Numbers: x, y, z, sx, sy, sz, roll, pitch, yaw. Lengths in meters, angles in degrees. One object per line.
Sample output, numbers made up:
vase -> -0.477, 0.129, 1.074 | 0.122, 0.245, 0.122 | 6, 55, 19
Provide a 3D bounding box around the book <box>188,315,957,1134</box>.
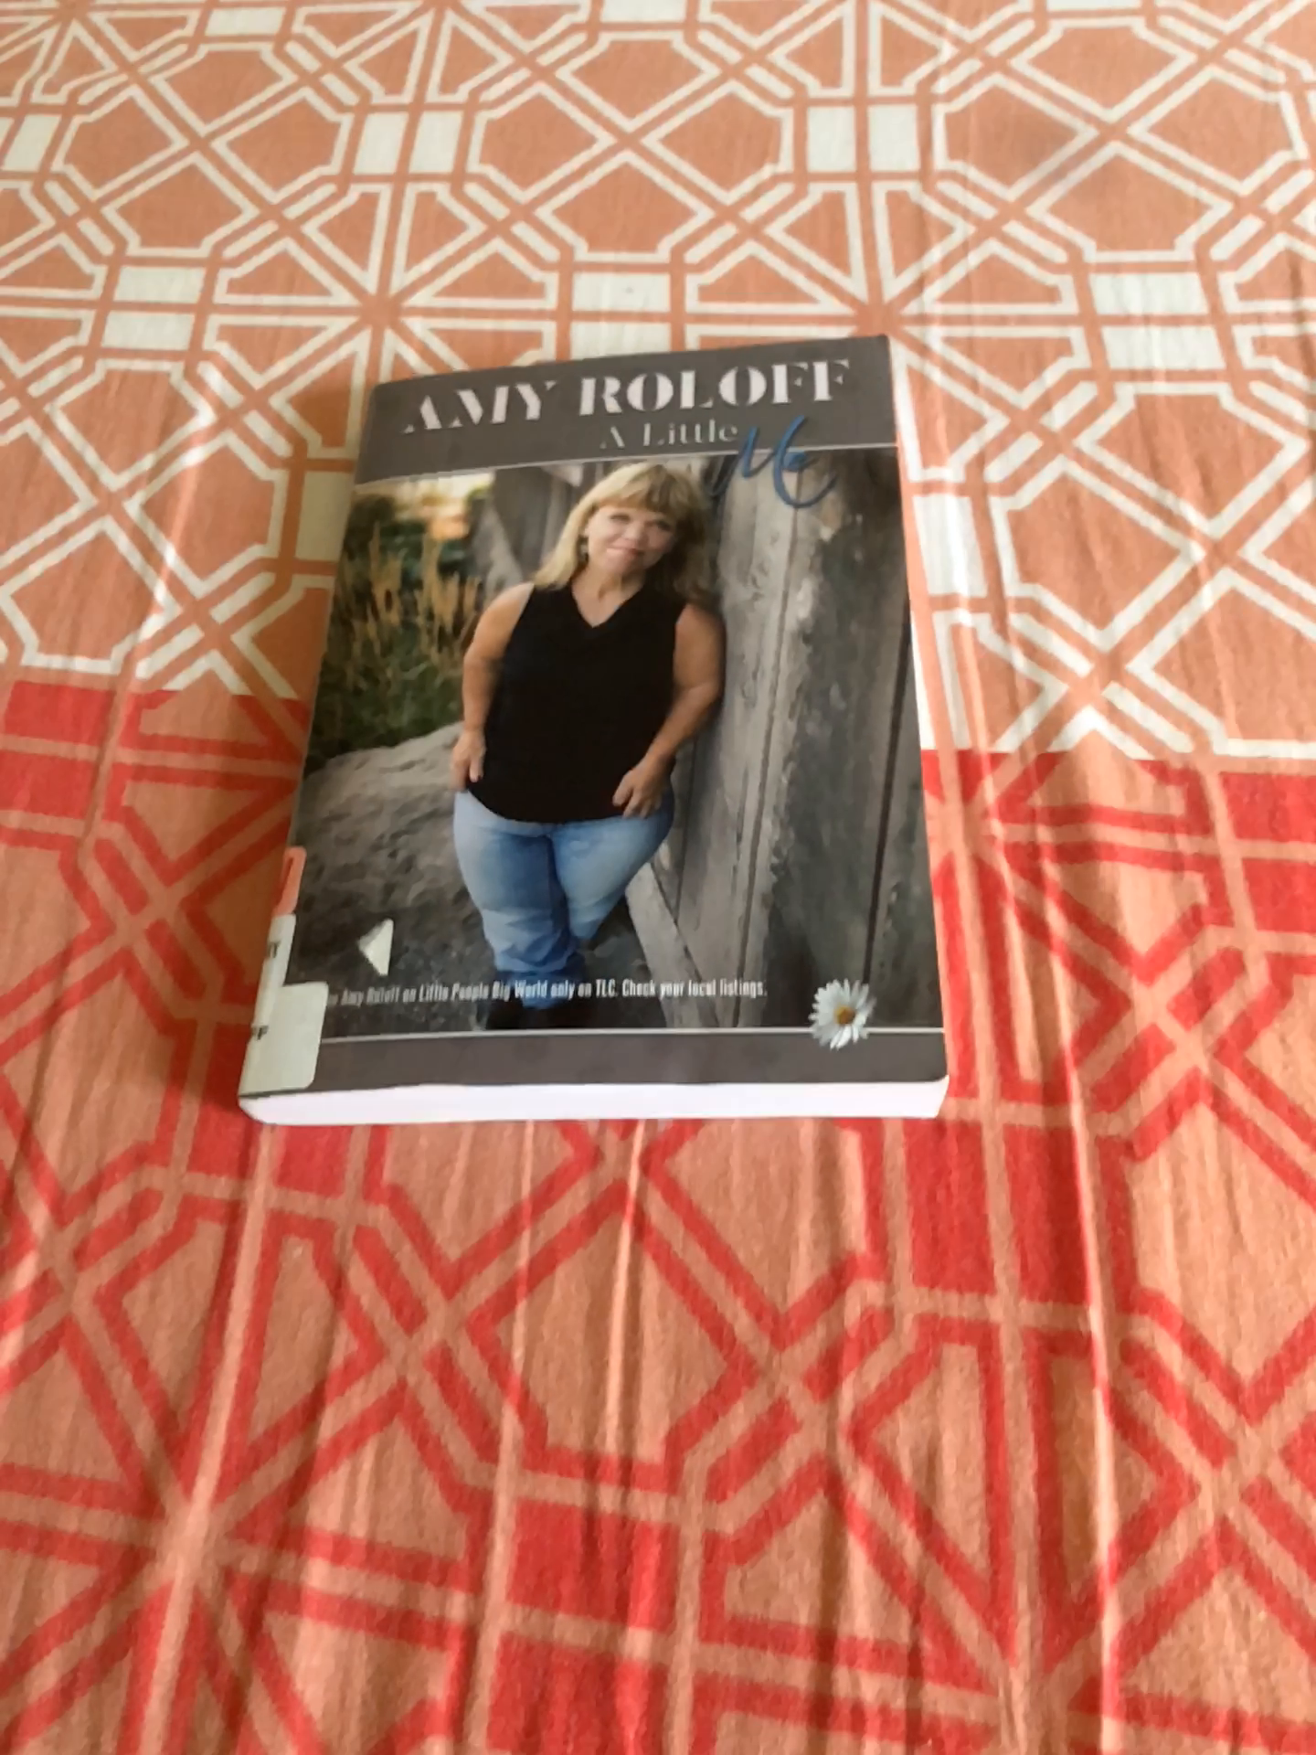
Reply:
book -> -0.015, -0.046, 0.360 | 0.158, 0.030, 0.215 | -2, 61, 7
